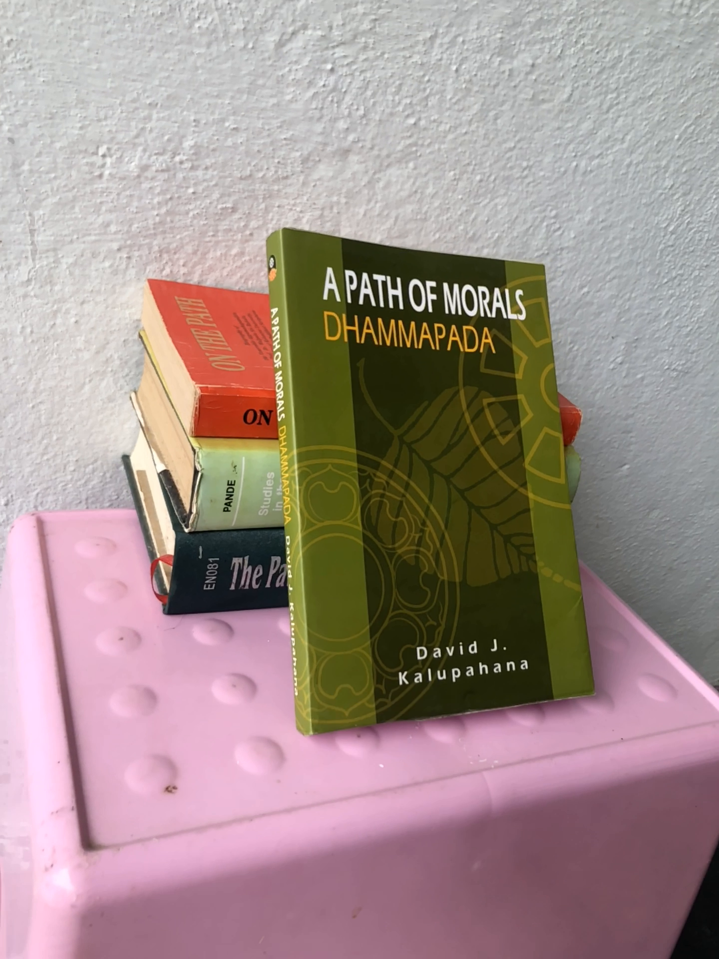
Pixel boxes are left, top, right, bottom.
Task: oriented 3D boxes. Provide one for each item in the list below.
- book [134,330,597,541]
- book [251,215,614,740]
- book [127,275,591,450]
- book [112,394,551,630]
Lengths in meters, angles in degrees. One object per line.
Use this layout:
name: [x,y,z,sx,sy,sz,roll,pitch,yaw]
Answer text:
book: [-0.005,-0.031,0.446,0.211,0.040,0.160,-1,29,-25]
book: [0.033,-0.003,0.365,0.150,0.210,0.040,1,-11,-26]
book: [-0.008,-0.067,0.440,0.211,0.030,0.160,-2,29,-25]
book: [-0.025,0.008,0.464,0.211,0.050,0.160,-1,29,-23]
